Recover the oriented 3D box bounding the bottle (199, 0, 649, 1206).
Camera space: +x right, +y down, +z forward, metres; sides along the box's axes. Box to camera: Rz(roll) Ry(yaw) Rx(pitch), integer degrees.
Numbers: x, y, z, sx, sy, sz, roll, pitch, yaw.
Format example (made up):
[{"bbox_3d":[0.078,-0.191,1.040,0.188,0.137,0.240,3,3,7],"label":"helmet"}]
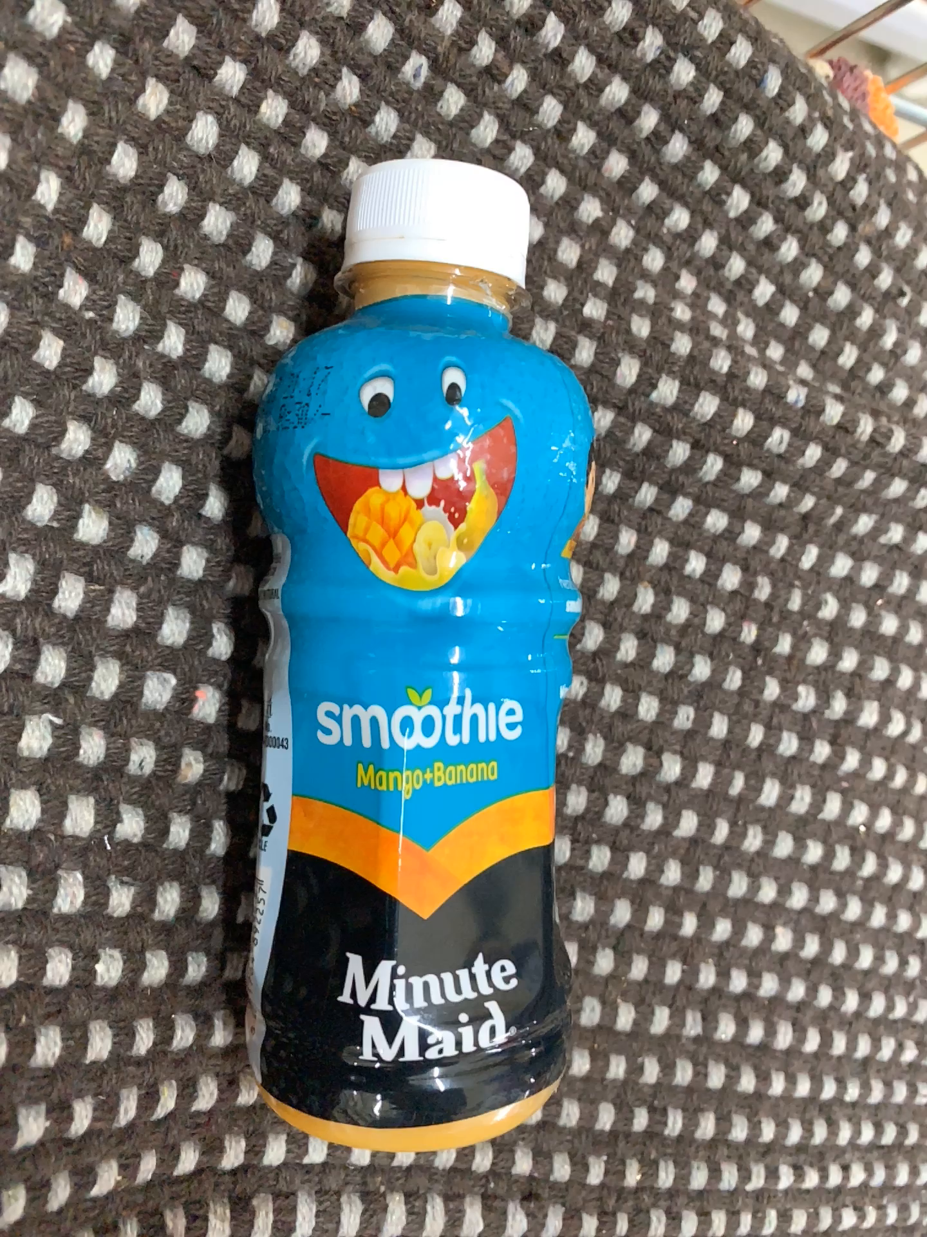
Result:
[{"bbox_3d":[-0.008,-0.001,0.161,0.060,0.040,0.160,-1,95,-31],"label":"bottle"}]
